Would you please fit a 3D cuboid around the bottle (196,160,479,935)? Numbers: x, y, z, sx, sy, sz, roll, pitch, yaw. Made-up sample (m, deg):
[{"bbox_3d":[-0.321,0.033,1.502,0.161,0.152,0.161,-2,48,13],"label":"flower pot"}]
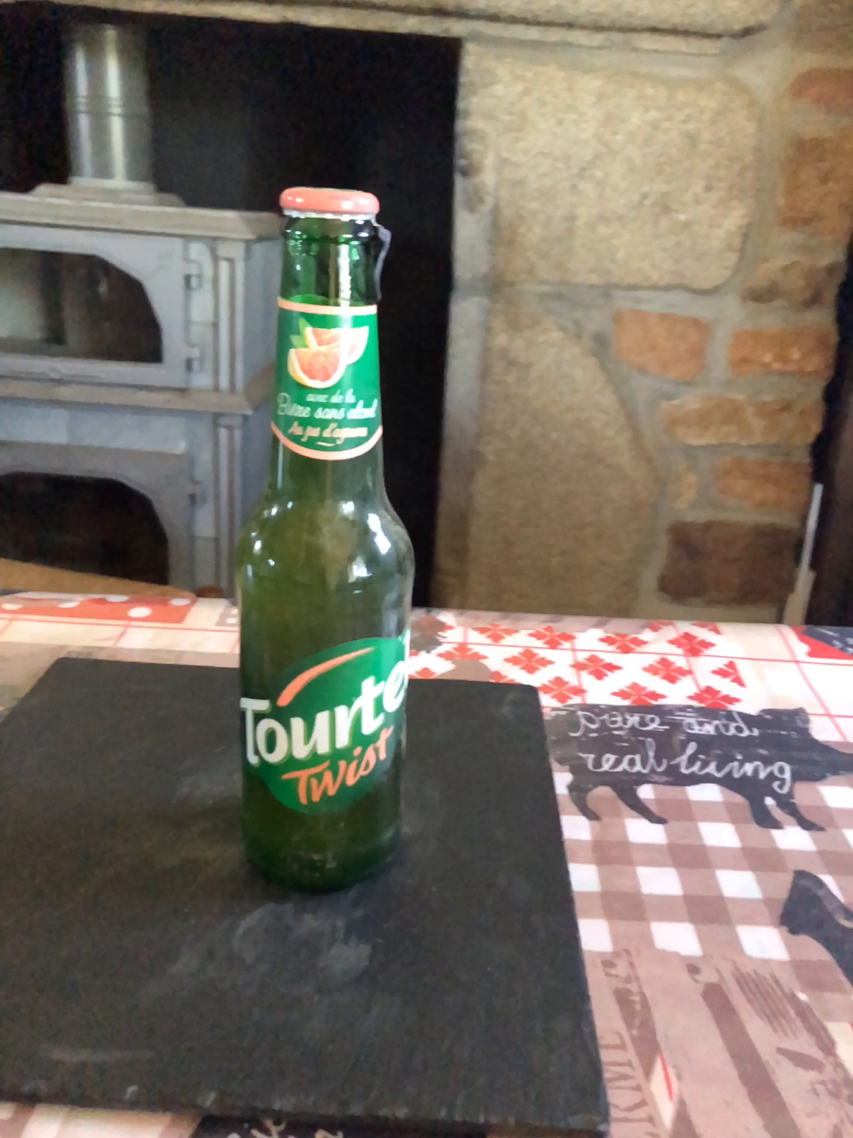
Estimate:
[{"bbox_3d":[-0.033,-0.001,0.299,0.070,0.229,0.060,-1,20,-11],"label":"bottle"}]
